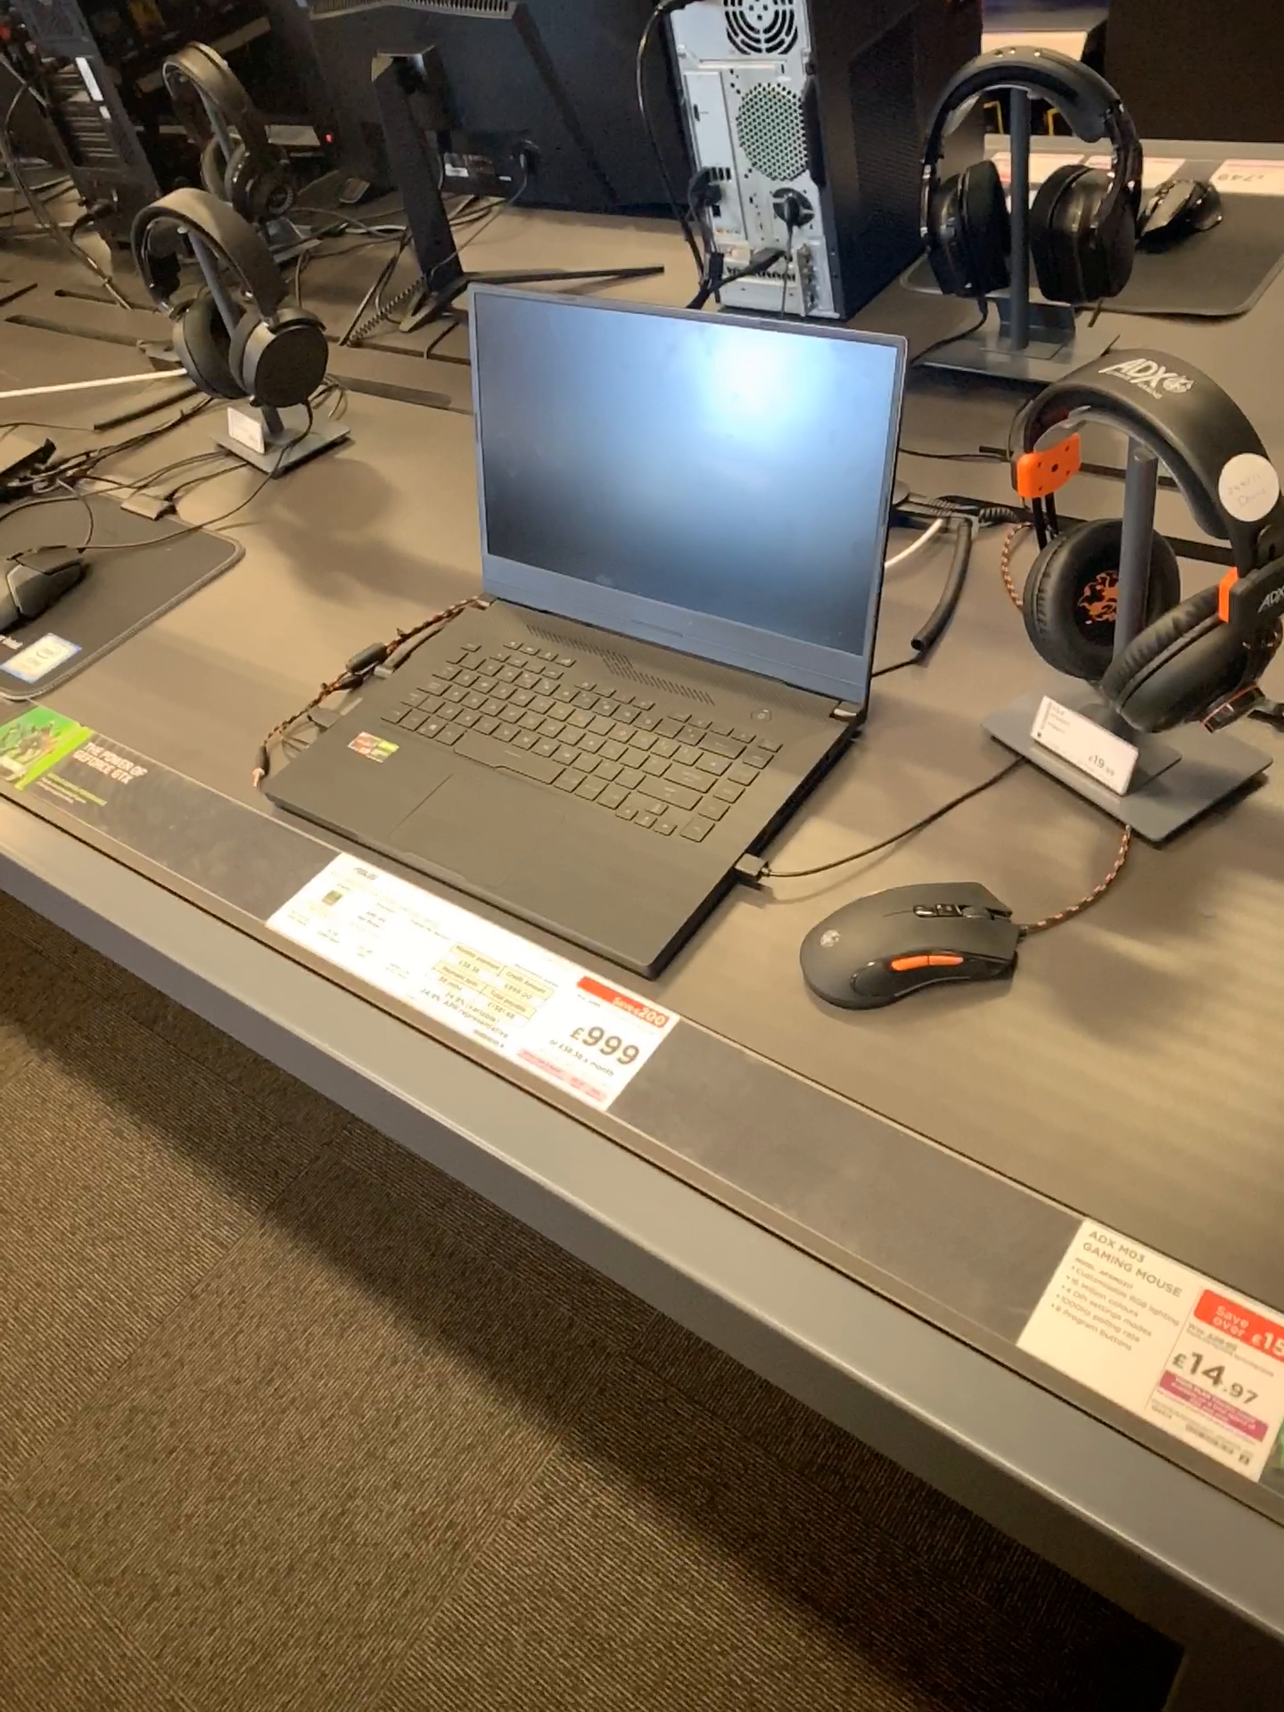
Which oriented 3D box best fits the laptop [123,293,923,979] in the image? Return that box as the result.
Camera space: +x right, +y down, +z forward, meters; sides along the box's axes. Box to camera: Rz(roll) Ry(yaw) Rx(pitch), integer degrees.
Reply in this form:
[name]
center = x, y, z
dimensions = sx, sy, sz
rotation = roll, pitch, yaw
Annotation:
[laptop]
center = -0.060, -0.166, 0.845
dimensions = 0.349, 0.203, 0.324
rotation = 23, 57, 31
